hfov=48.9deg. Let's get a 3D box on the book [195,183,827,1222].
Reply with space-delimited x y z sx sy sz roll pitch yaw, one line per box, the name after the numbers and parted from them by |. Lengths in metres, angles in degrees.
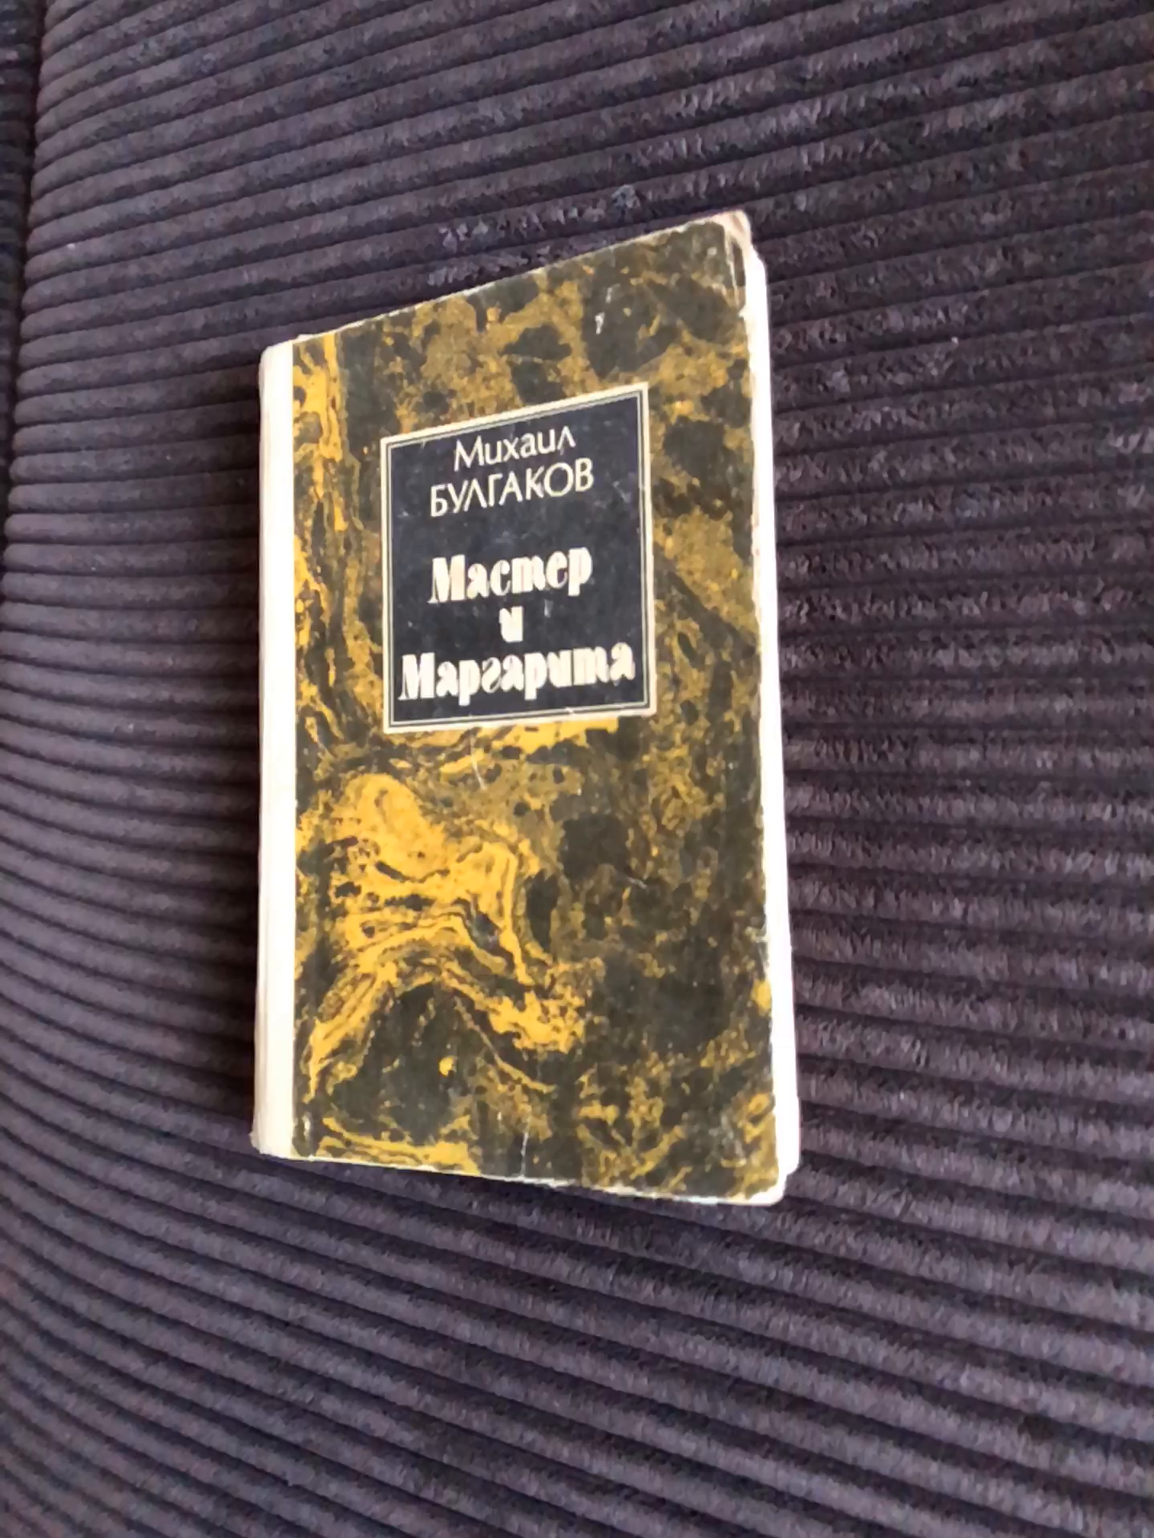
-0.023 -0.012 0.316 0.155 0.035 0.220 -5 82 28 | book
